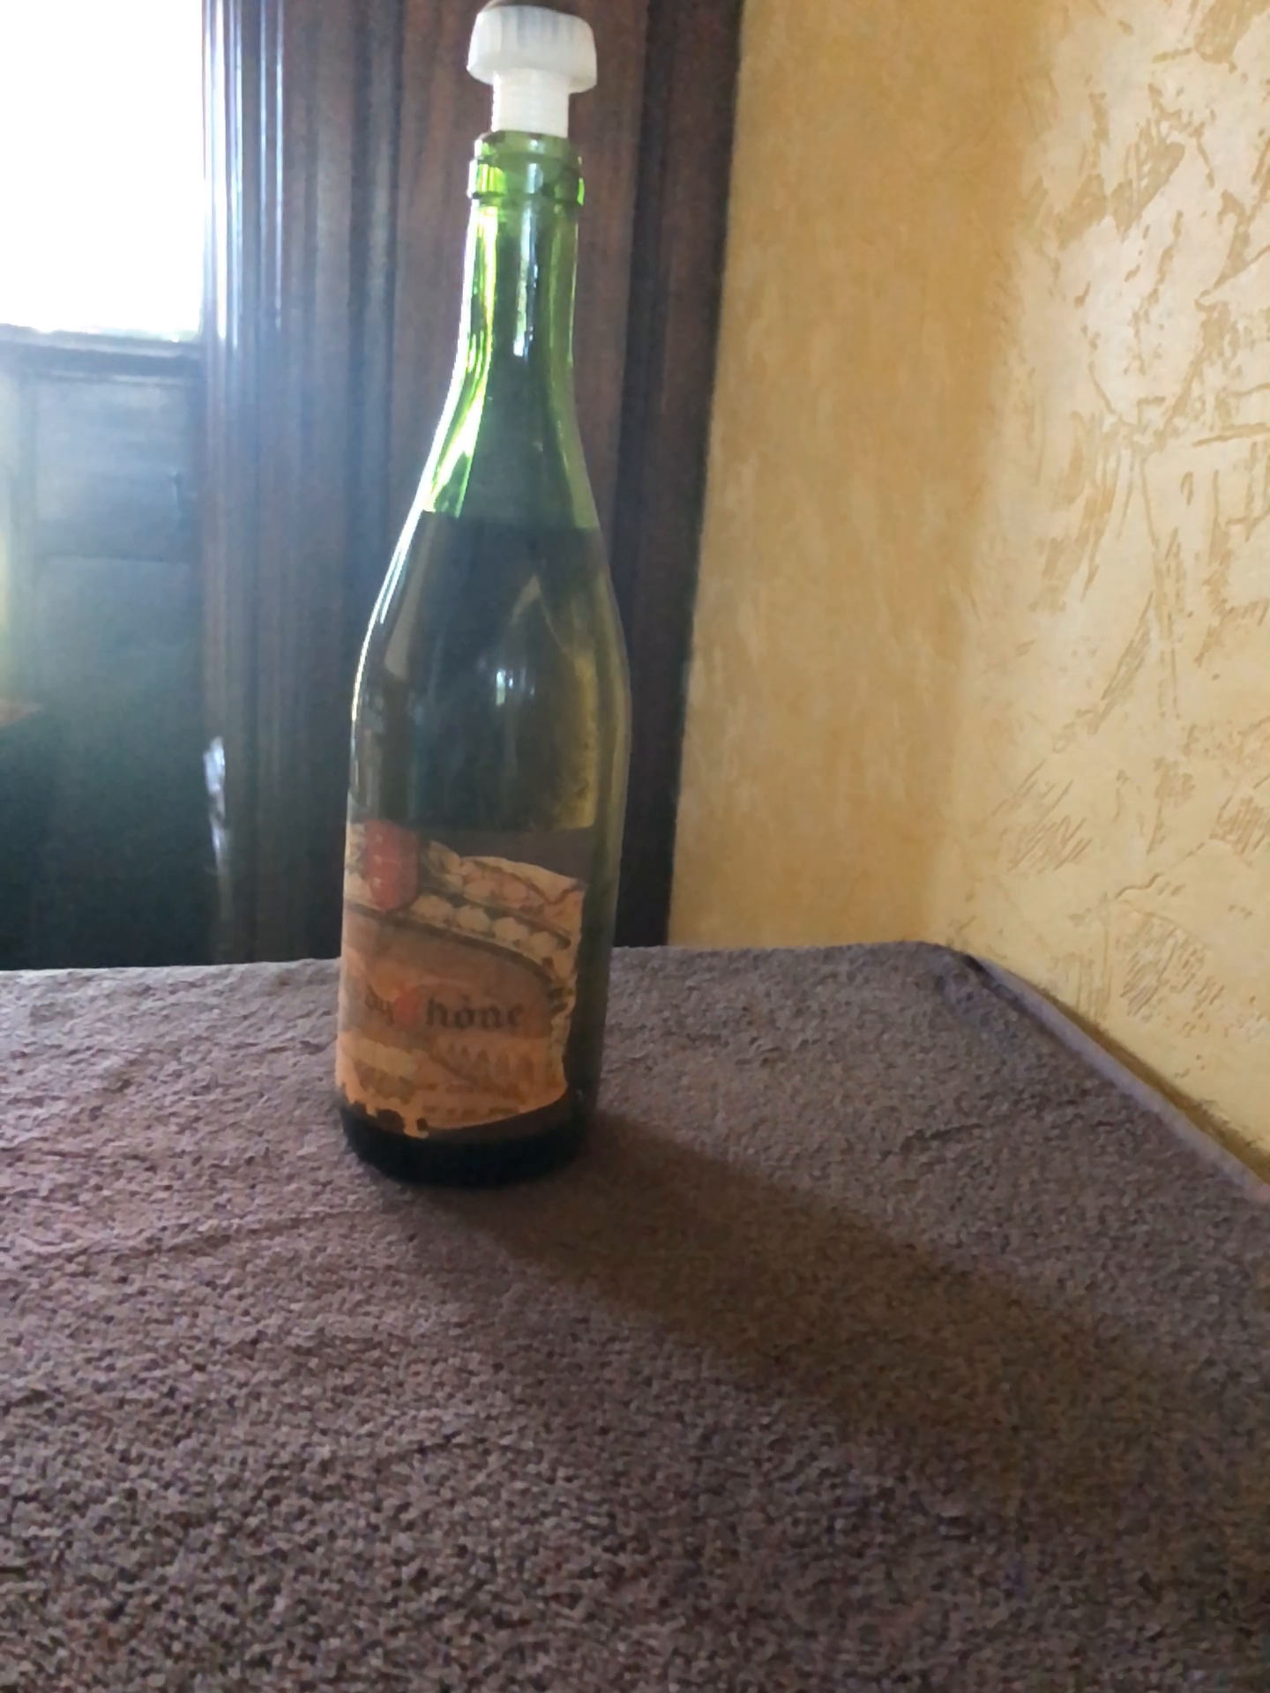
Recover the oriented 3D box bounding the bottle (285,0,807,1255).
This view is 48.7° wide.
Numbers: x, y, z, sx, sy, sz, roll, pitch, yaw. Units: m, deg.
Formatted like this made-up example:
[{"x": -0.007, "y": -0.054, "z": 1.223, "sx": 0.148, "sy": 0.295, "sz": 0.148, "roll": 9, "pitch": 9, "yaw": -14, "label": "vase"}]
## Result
[{"x": -0.032, "y": -0.058, "z": 0.391, "sx": 0.090, "sy": 0.309, "sz": 0.090, "roll": 4, "pitch": 15, "yaw": -1, "label": "bottle"}]
